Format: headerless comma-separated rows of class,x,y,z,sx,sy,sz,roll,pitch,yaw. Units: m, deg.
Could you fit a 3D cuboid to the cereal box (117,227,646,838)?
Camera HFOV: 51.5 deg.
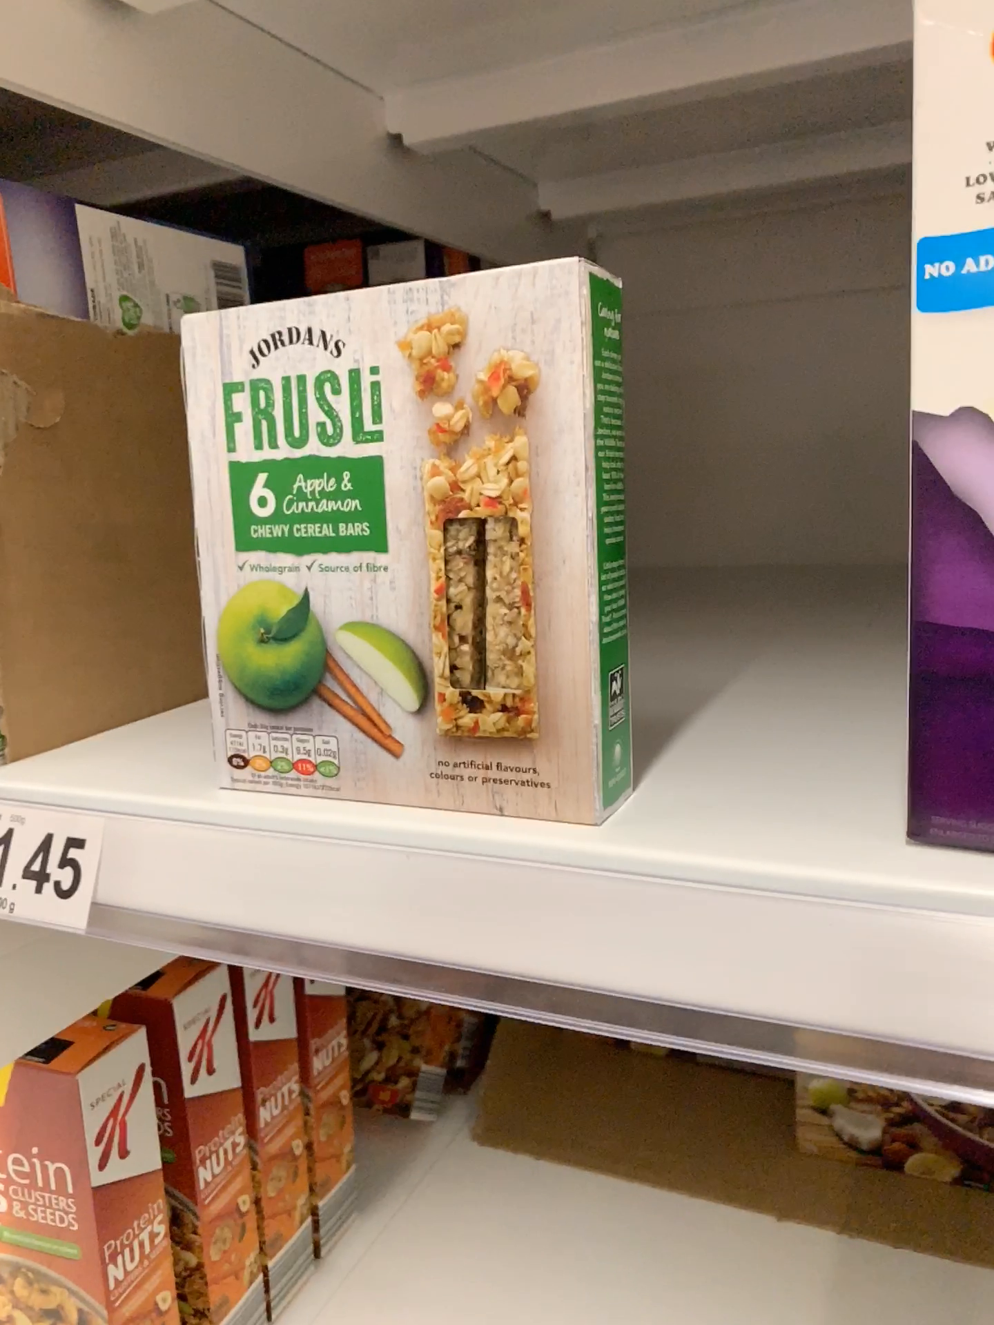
cereal box,-0.035,-0.037,0.324,0.150,0.159,0.050,2,11,25
